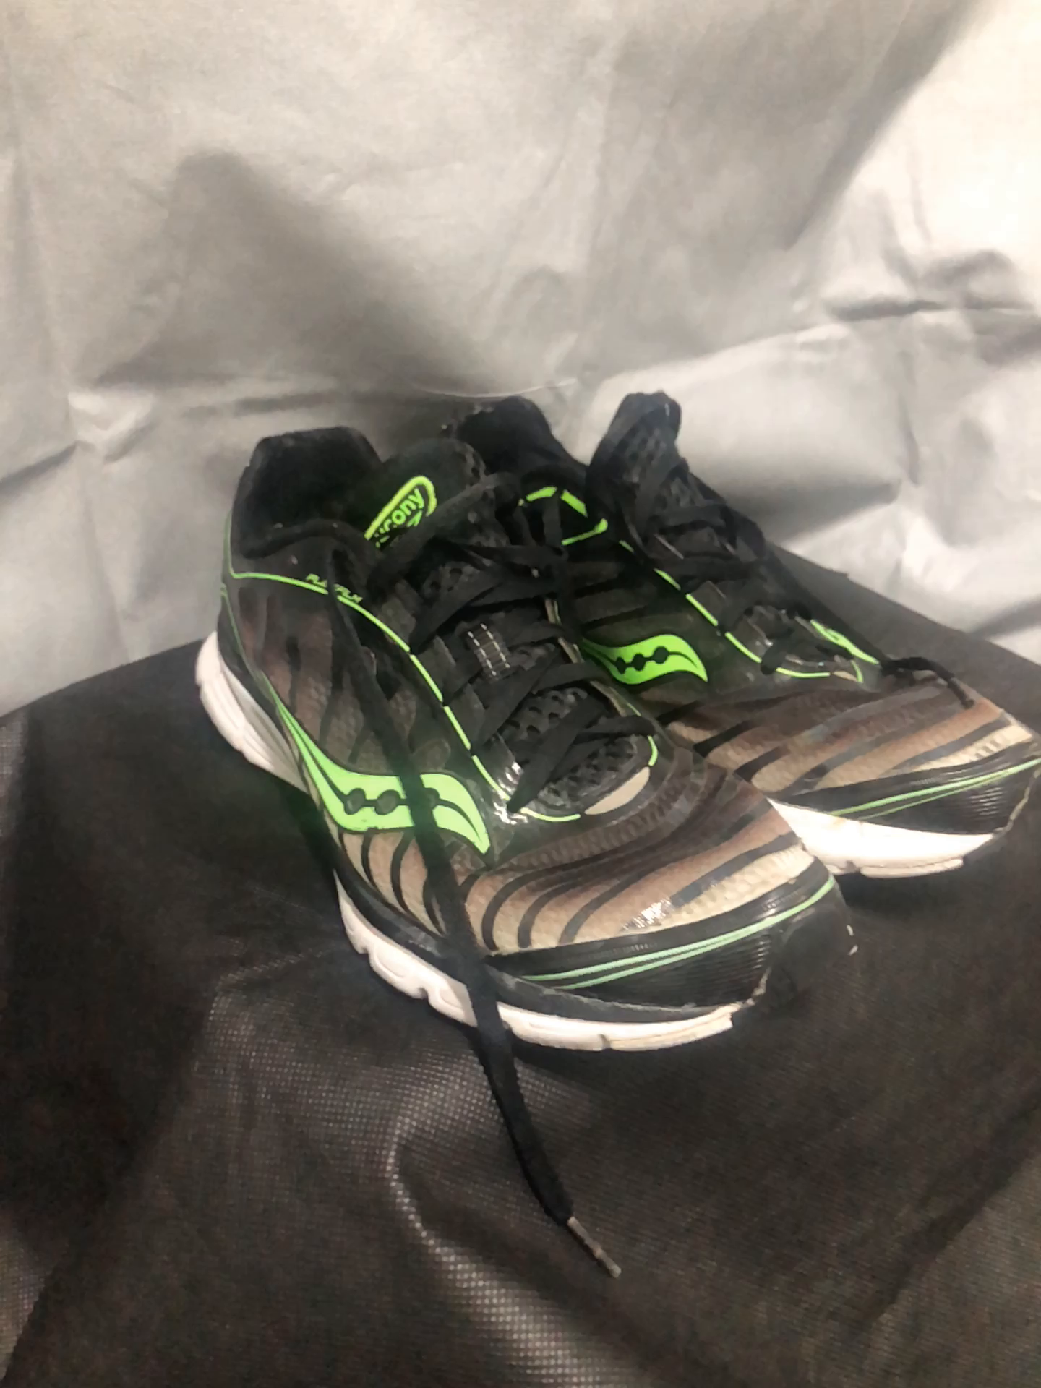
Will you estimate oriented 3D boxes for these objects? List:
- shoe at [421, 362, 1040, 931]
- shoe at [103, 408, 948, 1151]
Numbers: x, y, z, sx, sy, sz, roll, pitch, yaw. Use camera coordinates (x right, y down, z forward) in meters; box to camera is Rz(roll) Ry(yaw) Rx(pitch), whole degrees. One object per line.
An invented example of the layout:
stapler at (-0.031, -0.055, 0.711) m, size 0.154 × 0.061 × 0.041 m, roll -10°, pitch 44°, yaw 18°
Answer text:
shoe at (0.076, -0.038, 0.400) m, size 0.114 × 0.097 × 0.225 m, roll -19°, pitch 35°, yaw -34°
shoe at (-0.016, -0.003, 0.337) m, size 0.117 × 0.096 × 0.225 m, roll -19°, pitch 35°, yaw -34°
